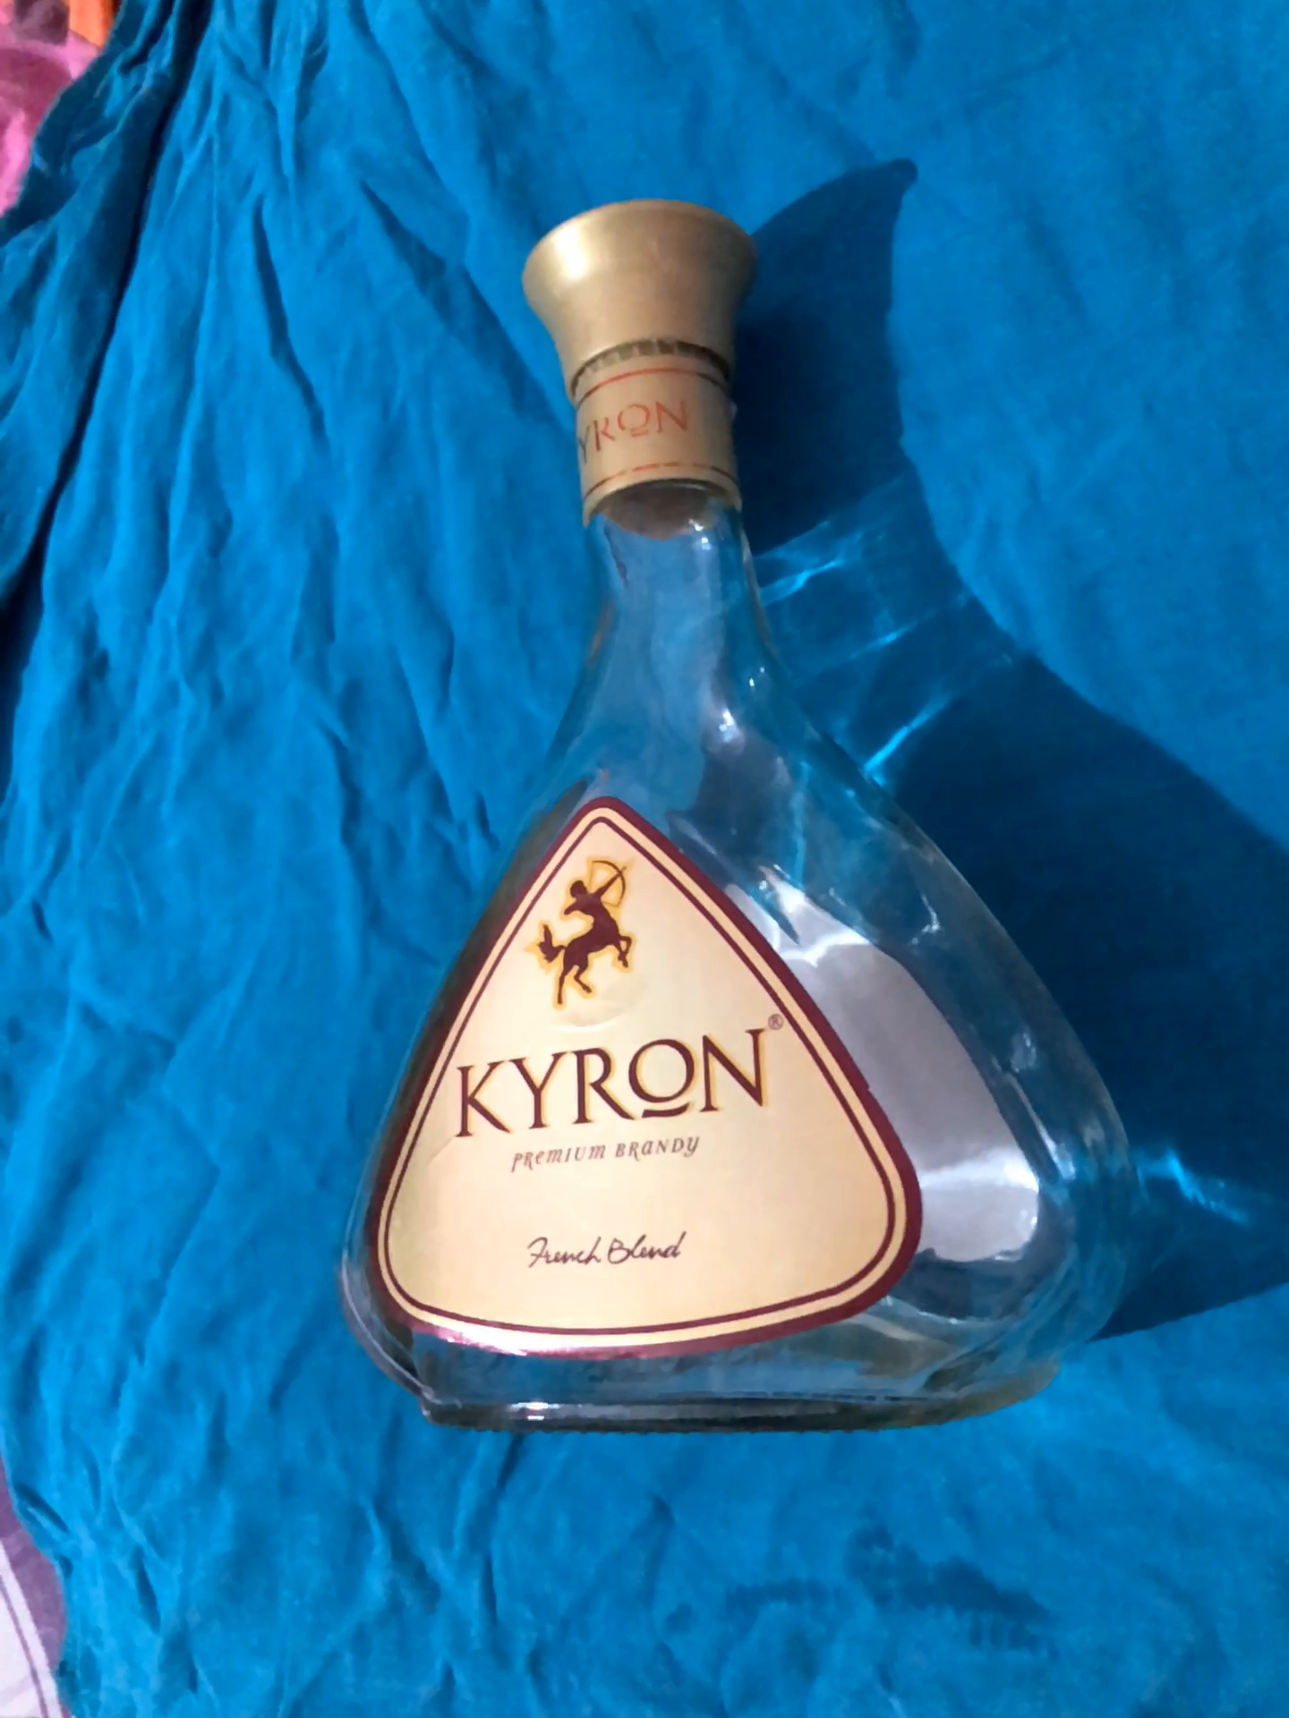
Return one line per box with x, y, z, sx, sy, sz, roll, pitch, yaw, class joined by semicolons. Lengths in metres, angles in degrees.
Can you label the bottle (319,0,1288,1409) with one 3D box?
0.029;-0.030;0.277;0.150;0.080;0.240;-13;78;31;bottle
